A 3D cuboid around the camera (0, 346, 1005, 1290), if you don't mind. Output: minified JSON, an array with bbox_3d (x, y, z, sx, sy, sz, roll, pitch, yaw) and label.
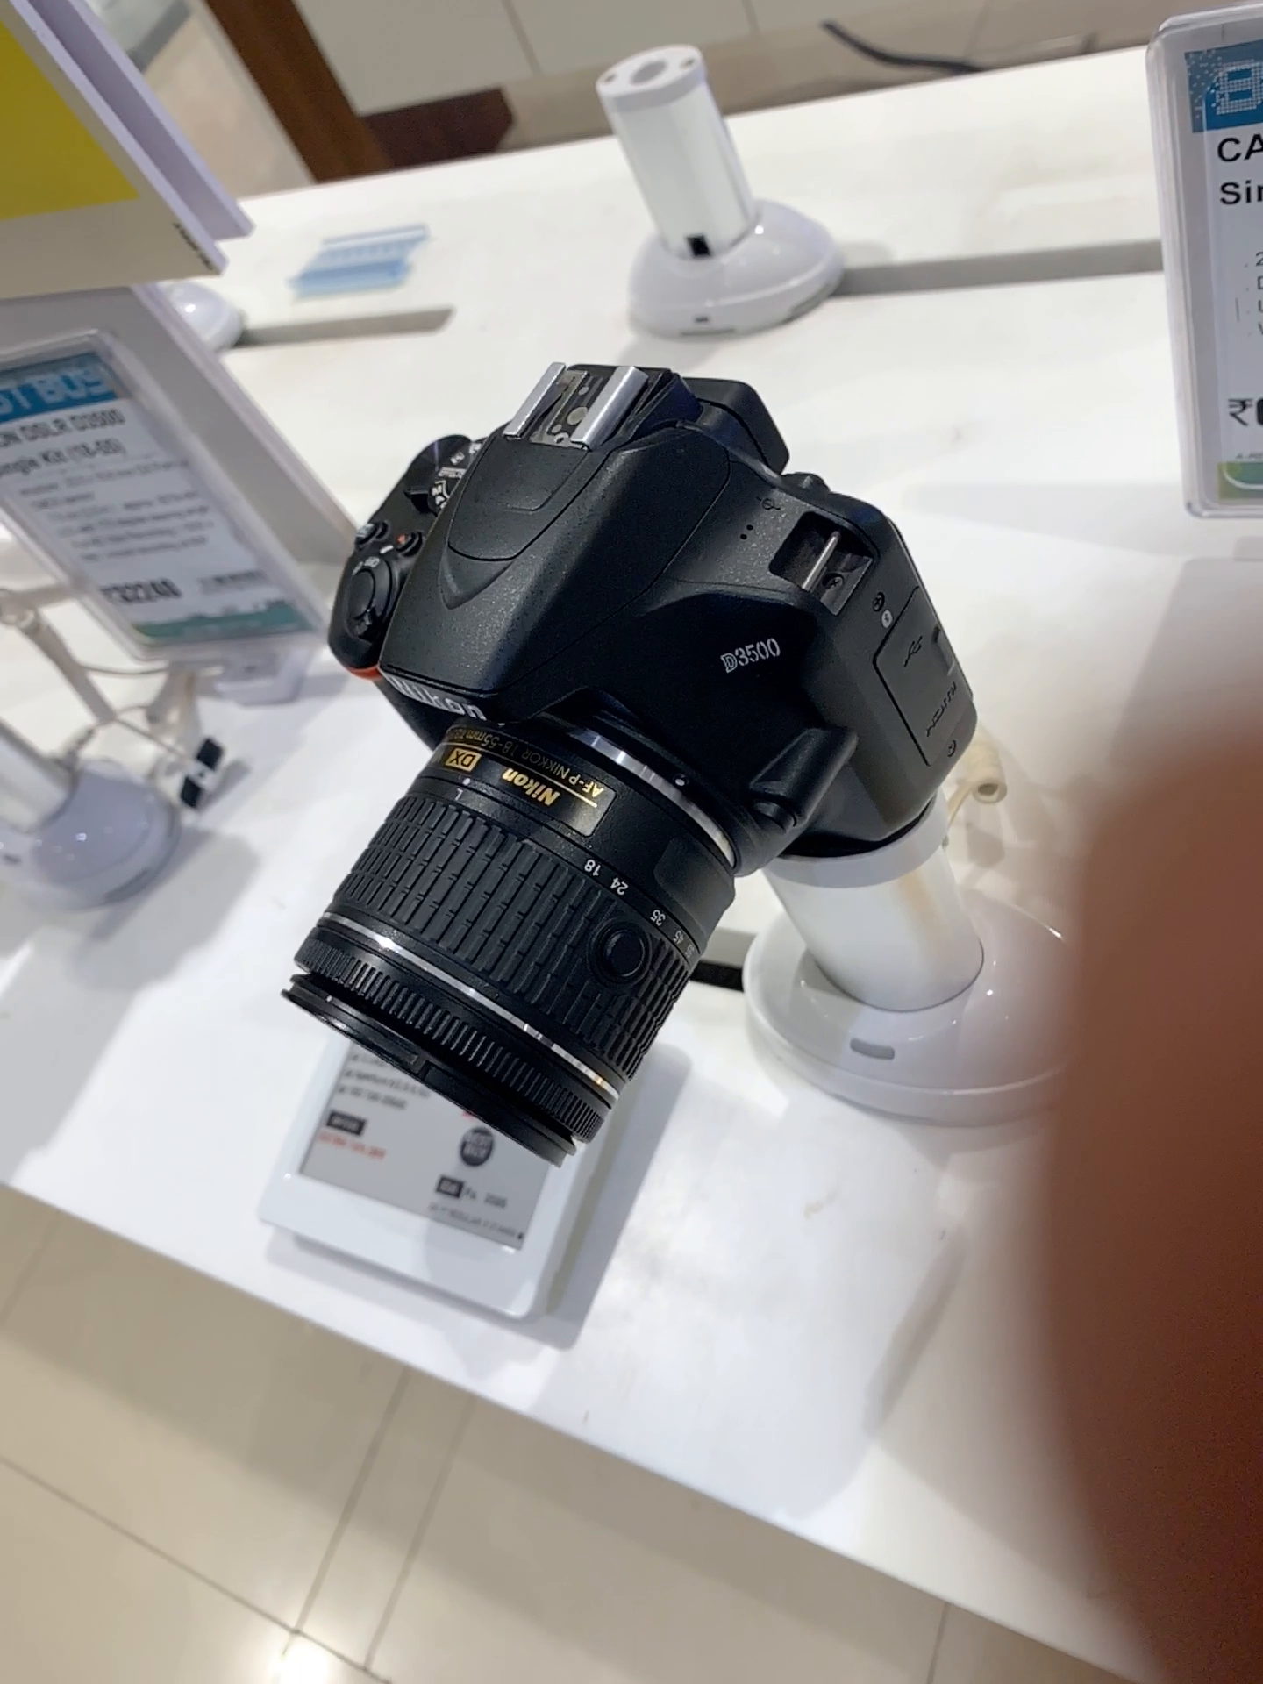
[{"bbox_3d":[-0.018,-0.009,0.222,0.110,0.090,0.103,20,68,35],"label":"camera"}]
